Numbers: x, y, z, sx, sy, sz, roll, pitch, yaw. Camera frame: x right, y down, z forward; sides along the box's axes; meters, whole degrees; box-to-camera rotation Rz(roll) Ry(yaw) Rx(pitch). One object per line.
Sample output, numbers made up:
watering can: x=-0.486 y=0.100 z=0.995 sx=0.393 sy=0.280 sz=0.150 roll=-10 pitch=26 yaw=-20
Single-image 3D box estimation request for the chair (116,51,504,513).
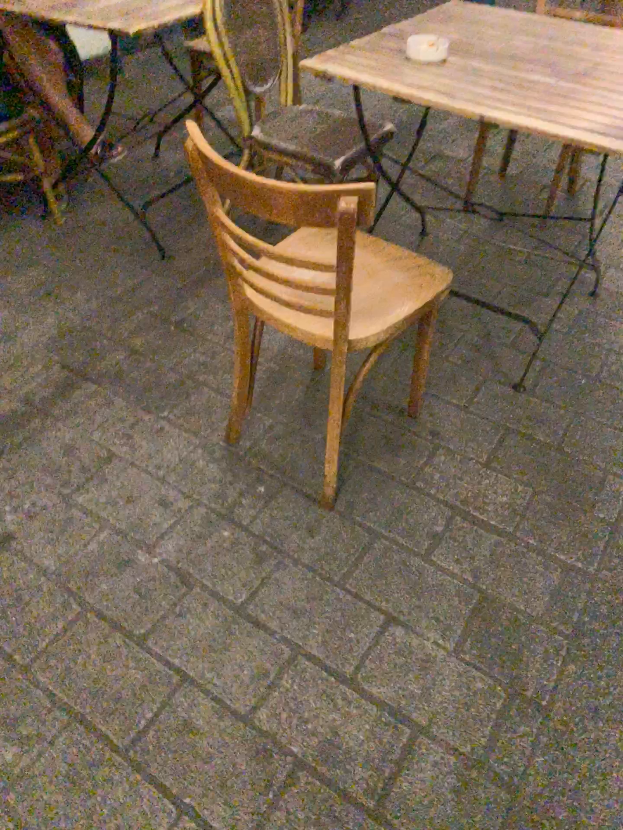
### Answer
chair: x=0.012 y=-0.307 z=1.454 sx=0.512 sy=0.762 sz=0.543 roll=27 pitch=51 yaw=25
